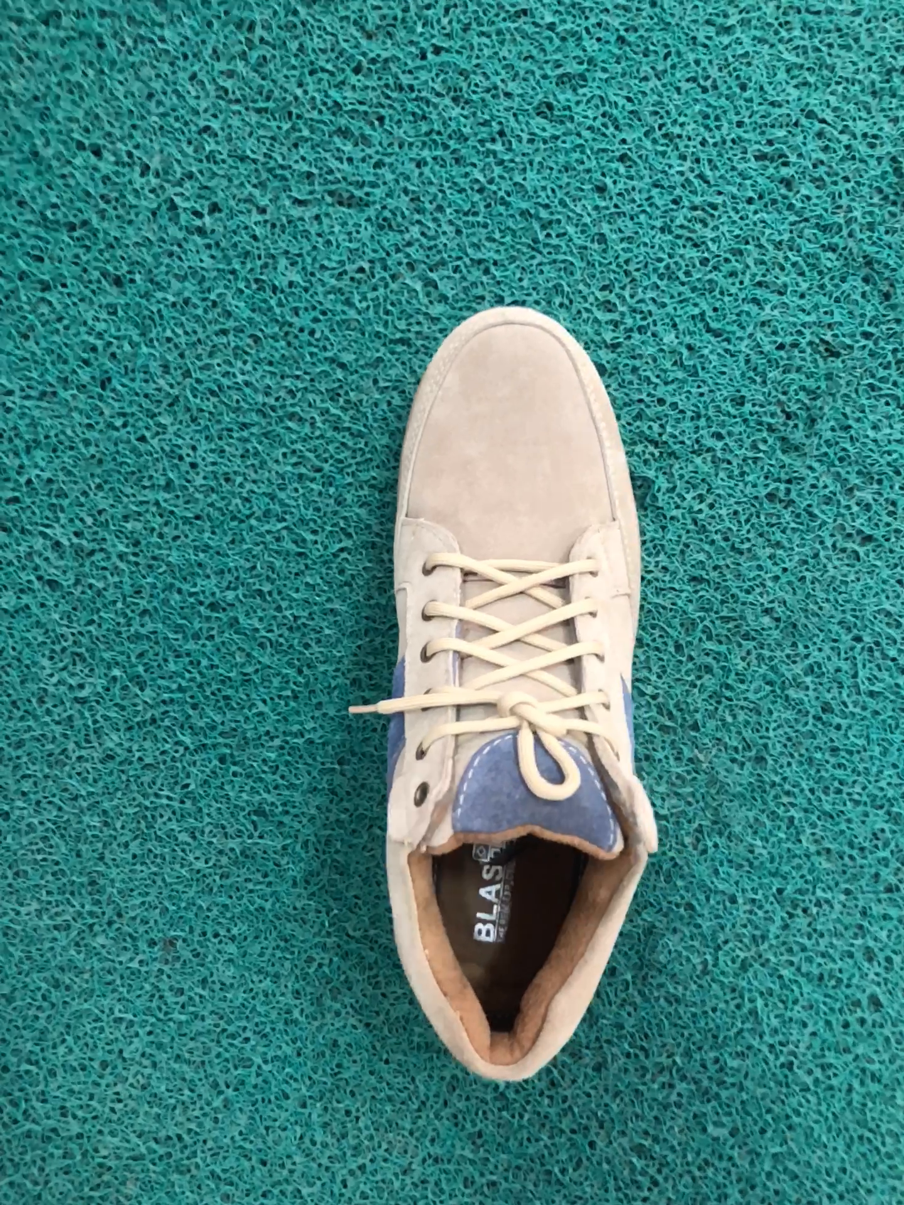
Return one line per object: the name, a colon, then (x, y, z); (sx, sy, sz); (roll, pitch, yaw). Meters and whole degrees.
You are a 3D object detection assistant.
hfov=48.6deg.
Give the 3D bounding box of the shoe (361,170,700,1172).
shoe: (0.025, 0.022, 0.383); (0.100, 0.120, 0.320); (2, 89, -1)
